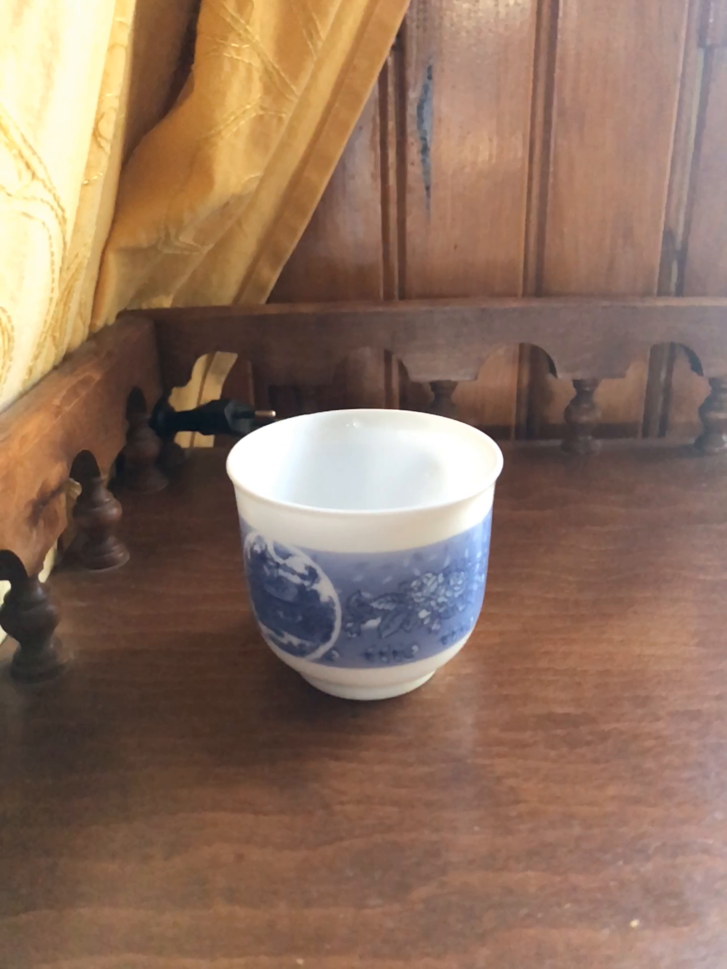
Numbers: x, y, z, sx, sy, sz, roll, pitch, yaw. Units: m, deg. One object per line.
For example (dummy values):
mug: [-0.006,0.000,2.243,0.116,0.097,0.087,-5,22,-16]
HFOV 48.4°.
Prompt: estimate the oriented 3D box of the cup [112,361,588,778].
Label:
cup: [0.000,0.012,0.226,0.080,0.060,0.101,18,30,37]
